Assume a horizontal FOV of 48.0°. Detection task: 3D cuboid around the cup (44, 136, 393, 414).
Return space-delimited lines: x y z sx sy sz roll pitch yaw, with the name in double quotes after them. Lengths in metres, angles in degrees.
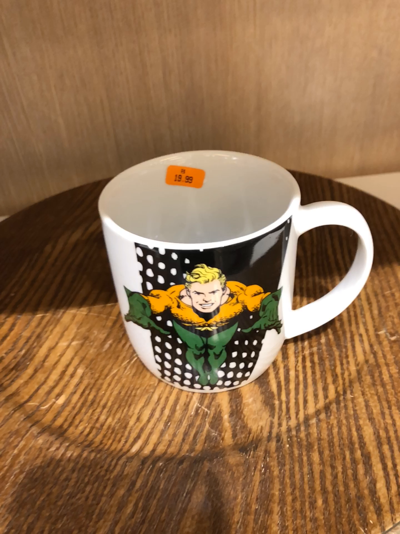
0.009 0.001 0.217 0.120 0.089 0.091 -4 35 3 "cup"
